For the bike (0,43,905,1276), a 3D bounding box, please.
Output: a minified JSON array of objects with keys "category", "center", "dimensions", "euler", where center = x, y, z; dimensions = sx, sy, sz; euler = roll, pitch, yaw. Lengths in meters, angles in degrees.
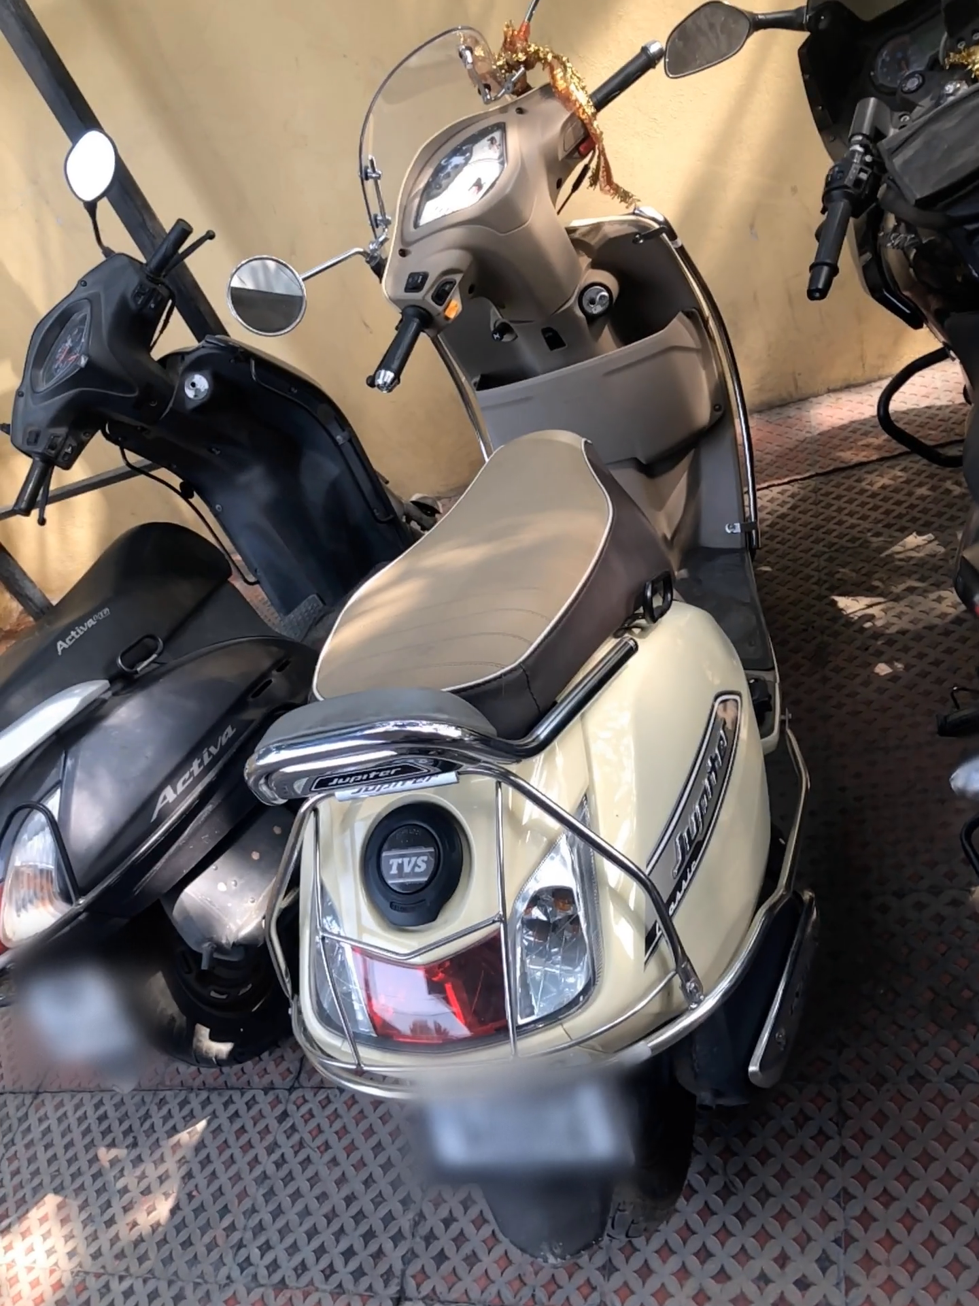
[{"category":"bike","center":[0.019,-0.131,1.655],"dimensions":[0.645,0.998,1.634],"euler":[-16,36,19]}]
